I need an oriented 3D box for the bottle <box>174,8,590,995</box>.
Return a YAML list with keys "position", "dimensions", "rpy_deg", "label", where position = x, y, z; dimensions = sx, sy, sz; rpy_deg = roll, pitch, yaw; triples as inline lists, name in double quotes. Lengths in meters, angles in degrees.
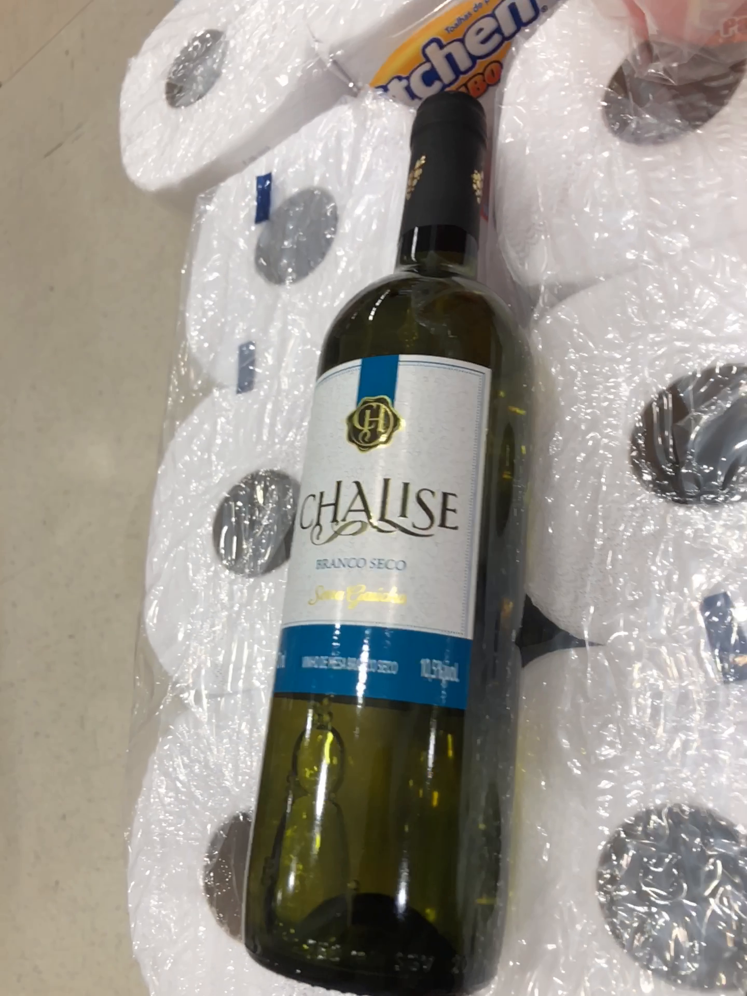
- position: [0.016, -0.006, 0.252]
  dimensions: [0.080, 0.060, 0.280]
  rpy_deg: [0, 71, 22]
  label: "bottle"
